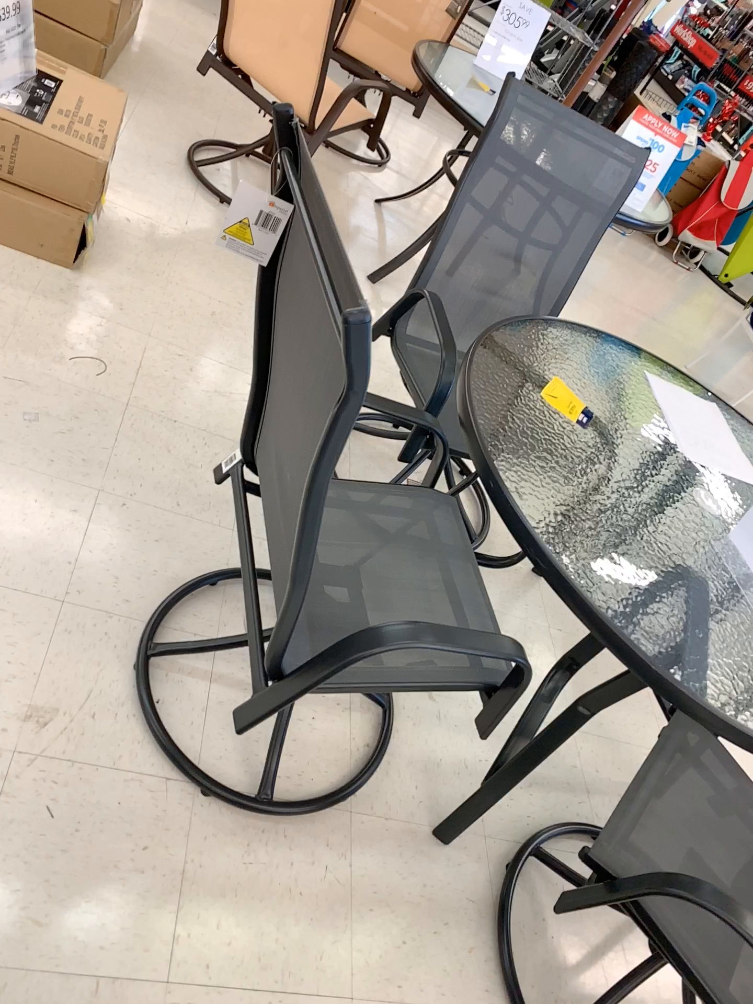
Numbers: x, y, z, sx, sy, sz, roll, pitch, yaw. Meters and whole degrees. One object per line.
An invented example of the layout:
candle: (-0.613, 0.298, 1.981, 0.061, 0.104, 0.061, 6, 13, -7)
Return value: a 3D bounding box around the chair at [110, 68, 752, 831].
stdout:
chair: (0.020, 0.031, 1.240, 0.641, 0.975, 0.582, 9, 45, -29)
